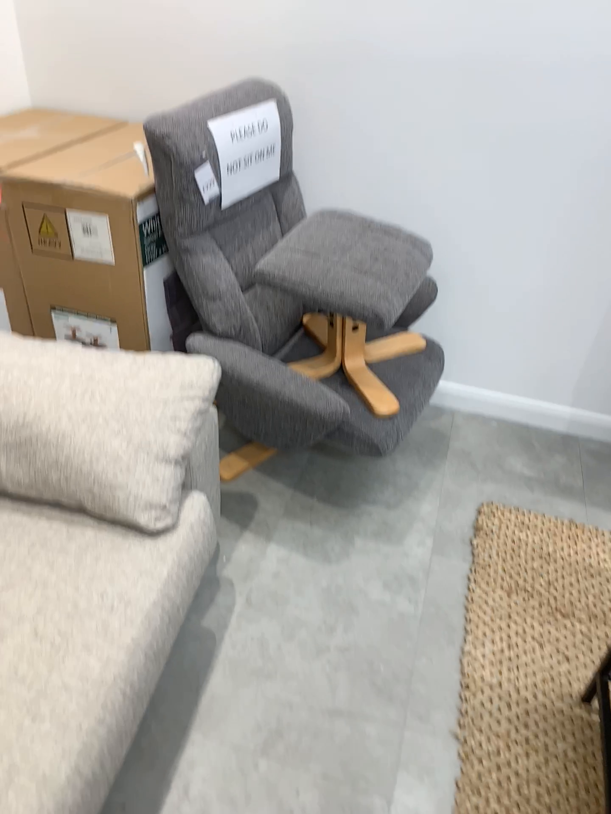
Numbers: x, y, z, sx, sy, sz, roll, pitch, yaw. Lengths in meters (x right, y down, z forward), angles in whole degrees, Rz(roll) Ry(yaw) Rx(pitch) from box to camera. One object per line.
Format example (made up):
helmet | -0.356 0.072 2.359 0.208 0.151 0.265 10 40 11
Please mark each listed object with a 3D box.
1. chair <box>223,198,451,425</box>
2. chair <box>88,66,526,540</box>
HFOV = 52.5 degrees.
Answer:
chair | 0.094 -0.290 1.697 0.446 0.352 0.500 16 37 16
chair | 0.055 -0.364 1.749 0.786 0.896 0.874 16 37 16
